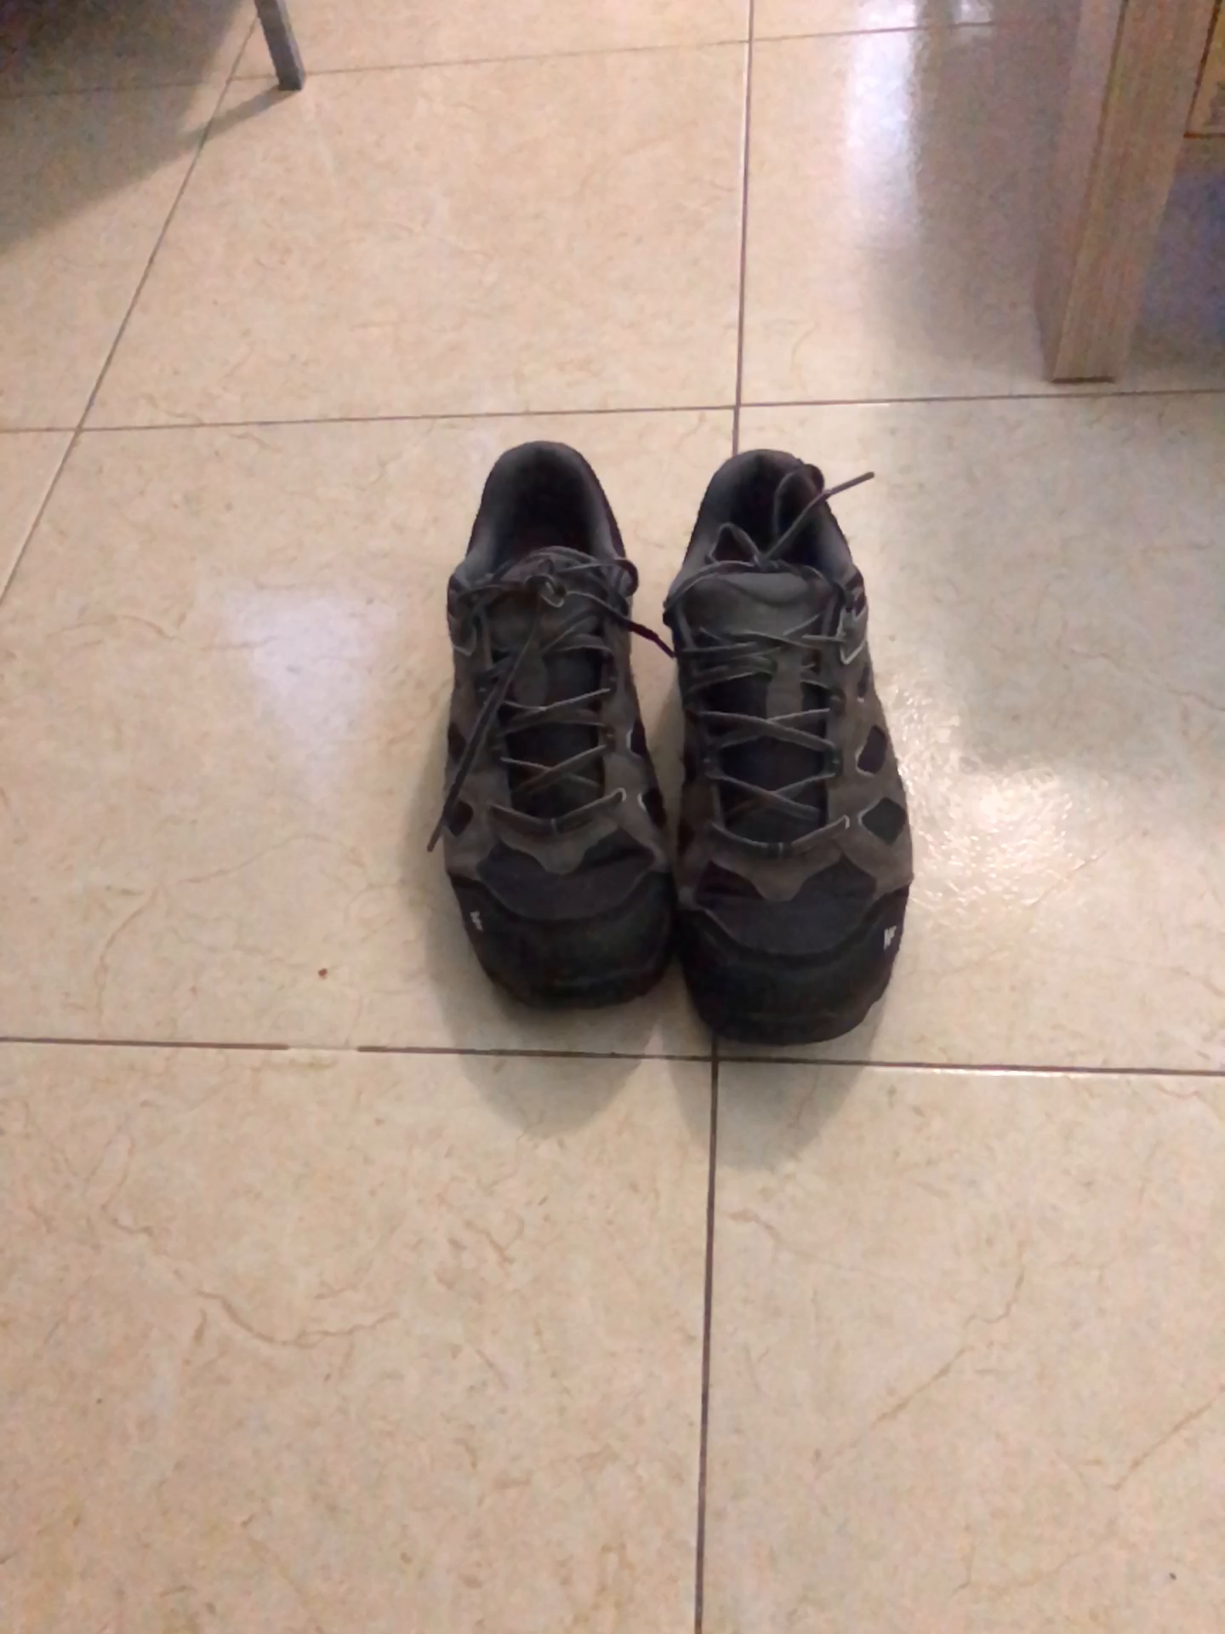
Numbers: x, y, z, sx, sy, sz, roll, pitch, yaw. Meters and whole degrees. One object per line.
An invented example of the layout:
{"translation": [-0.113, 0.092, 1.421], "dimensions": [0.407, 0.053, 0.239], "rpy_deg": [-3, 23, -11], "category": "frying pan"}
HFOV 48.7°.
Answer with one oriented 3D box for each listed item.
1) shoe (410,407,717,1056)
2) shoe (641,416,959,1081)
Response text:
{"translation": [-0.030, -0.053, 0.678], "dimensions": [0.120, 0.110, 0.311], "rpy_deg": [-7, 55, 2], "category": "shoe"}
{"translation": [0.080, -0.042, 0.648], "dimensions": [0.120, 0.110, 0.311], "rpy_deg": [-2, 55, 6], "category": "shoe"}
